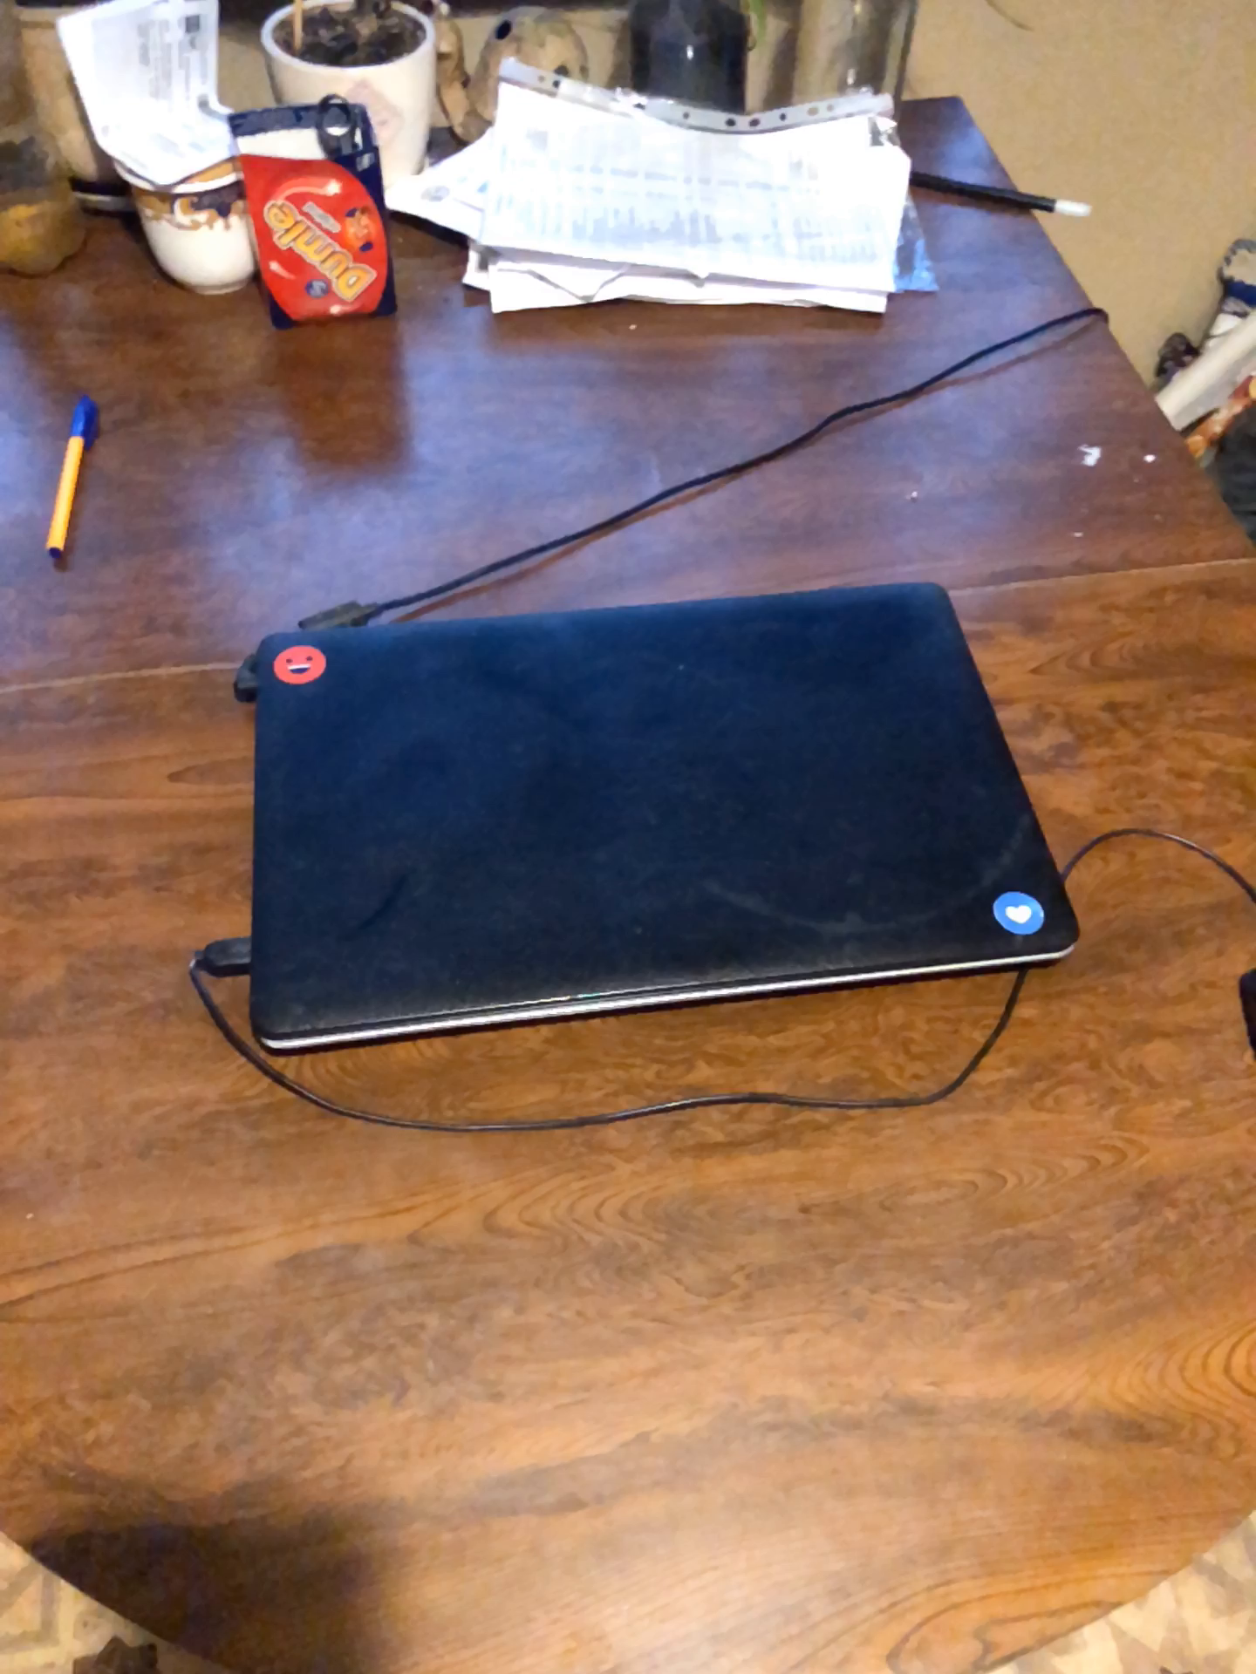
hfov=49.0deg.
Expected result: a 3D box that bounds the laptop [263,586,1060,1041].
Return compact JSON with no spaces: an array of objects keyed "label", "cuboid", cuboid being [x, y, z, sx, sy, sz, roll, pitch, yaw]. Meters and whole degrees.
[{"label":"laptop","cuboid":[0.006,-0.027,0.692,0.366,0.007,0.239,-5,54,-8]}]
